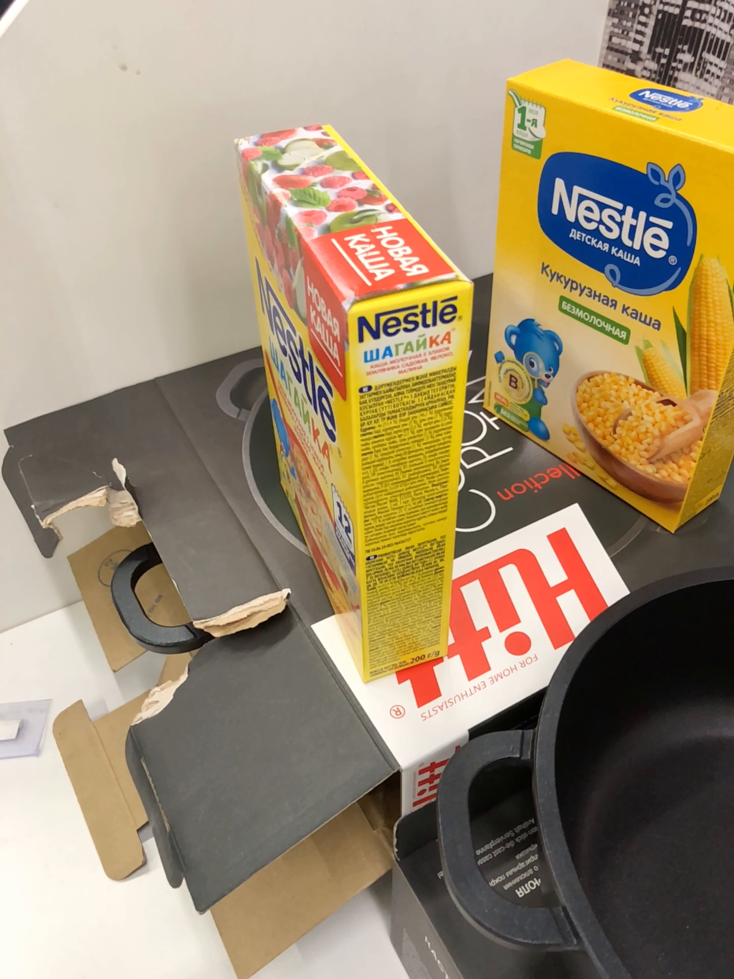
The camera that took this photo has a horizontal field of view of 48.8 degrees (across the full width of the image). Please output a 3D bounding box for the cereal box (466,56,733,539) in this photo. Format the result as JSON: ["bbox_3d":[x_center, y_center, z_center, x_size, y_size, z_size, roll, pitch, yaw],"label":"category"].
[{"bbox_3d":[0.131,-0.099,0.427,0.050,0.199,0.161,-29,48,-26],"label":"cereal box"}]

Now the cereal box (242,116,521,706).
[{"bbox_3d":[-0.002,-0.034,0.359,0.050,0.199,0.161,-14,43,-13],"label":"cereal box"}]
